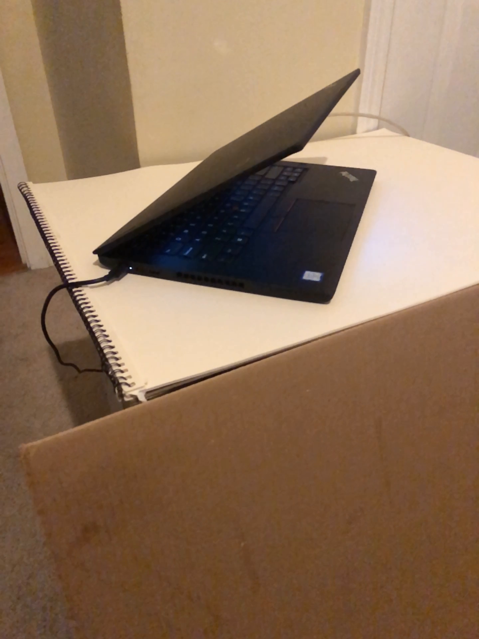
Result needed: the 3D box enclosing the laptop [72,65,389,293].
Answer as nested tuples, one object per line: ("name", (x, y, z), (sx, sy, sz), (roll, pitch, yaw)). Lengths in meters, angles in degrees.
("laptop", (0.020, -0.176, 0.558), (0.227, 0.115, 0.319), (10, 36, 16))
